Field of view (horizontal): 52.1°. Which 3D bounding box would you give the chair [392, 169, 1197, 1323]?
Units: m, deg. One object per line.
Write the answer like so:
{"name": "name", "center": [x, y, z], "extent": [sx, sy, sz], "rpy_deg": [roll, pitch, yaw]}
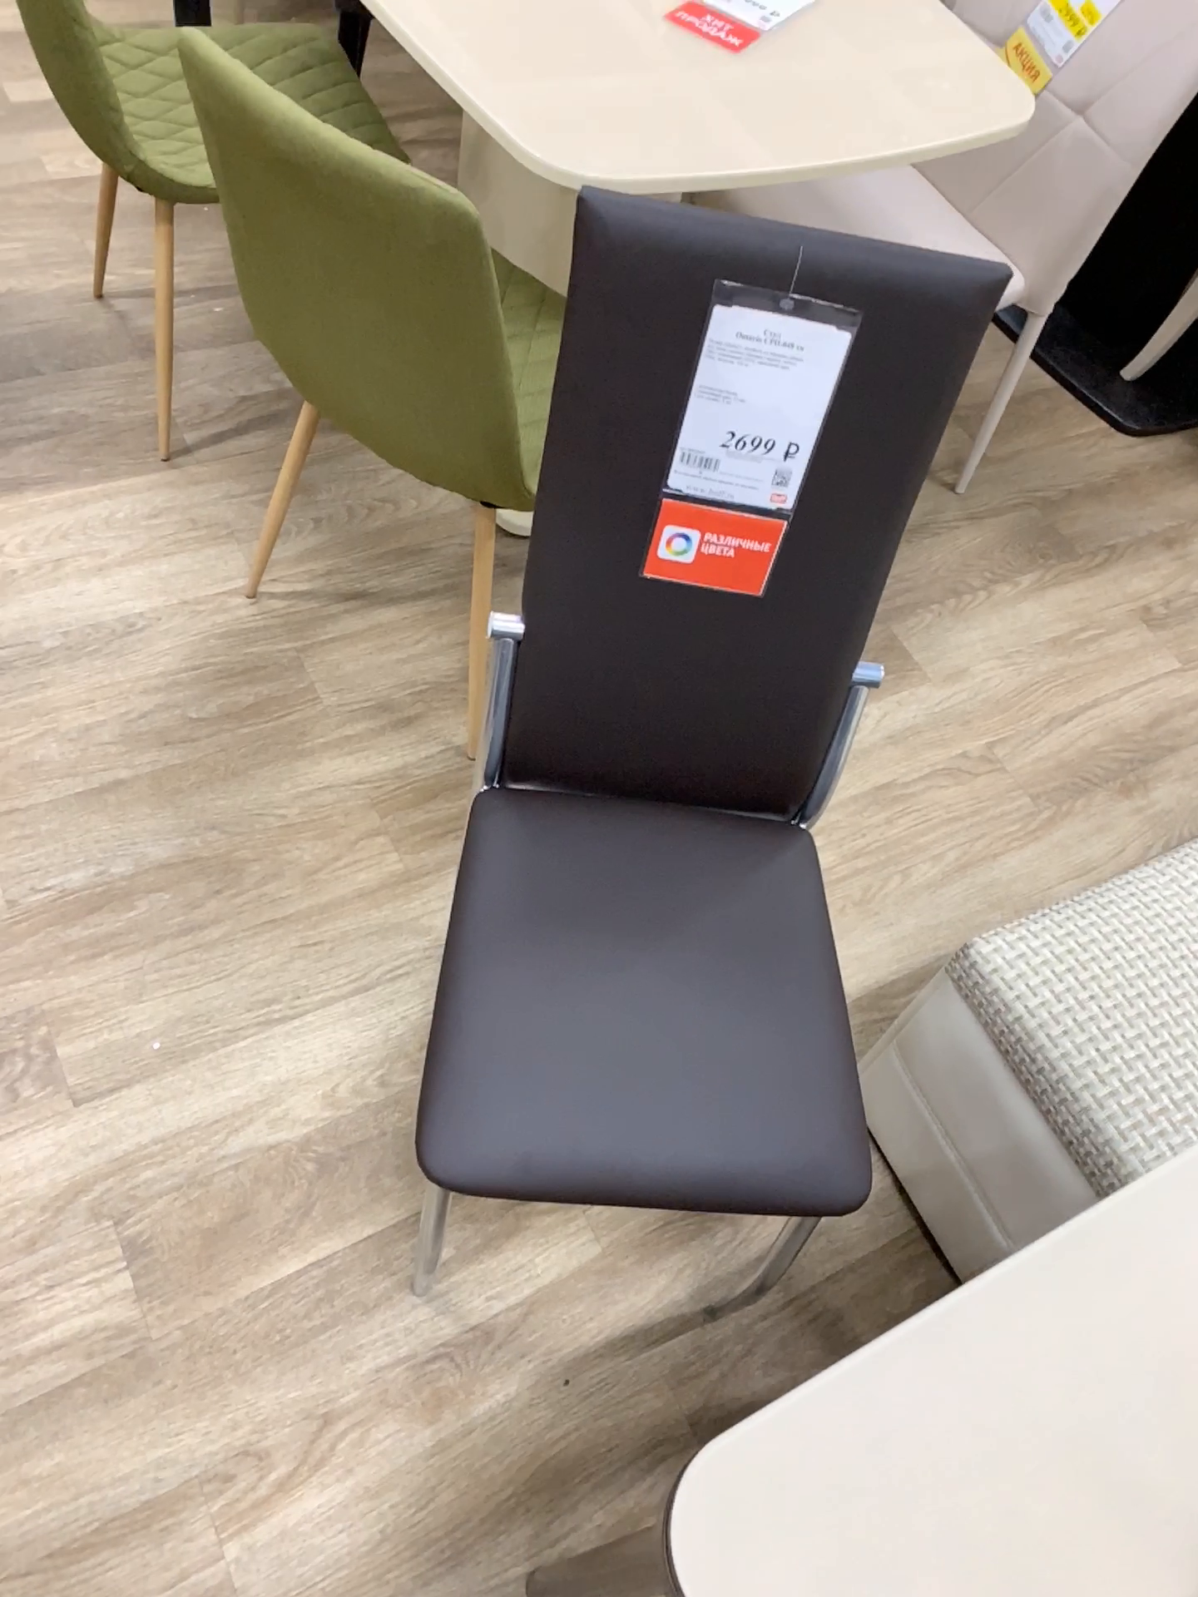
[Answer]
{"name": "chair", "center": [0.076, 0.086, 1.113], "extent": [0.420, 0.996, 0.502], "rpy_deg": [8, 55, -6]}
